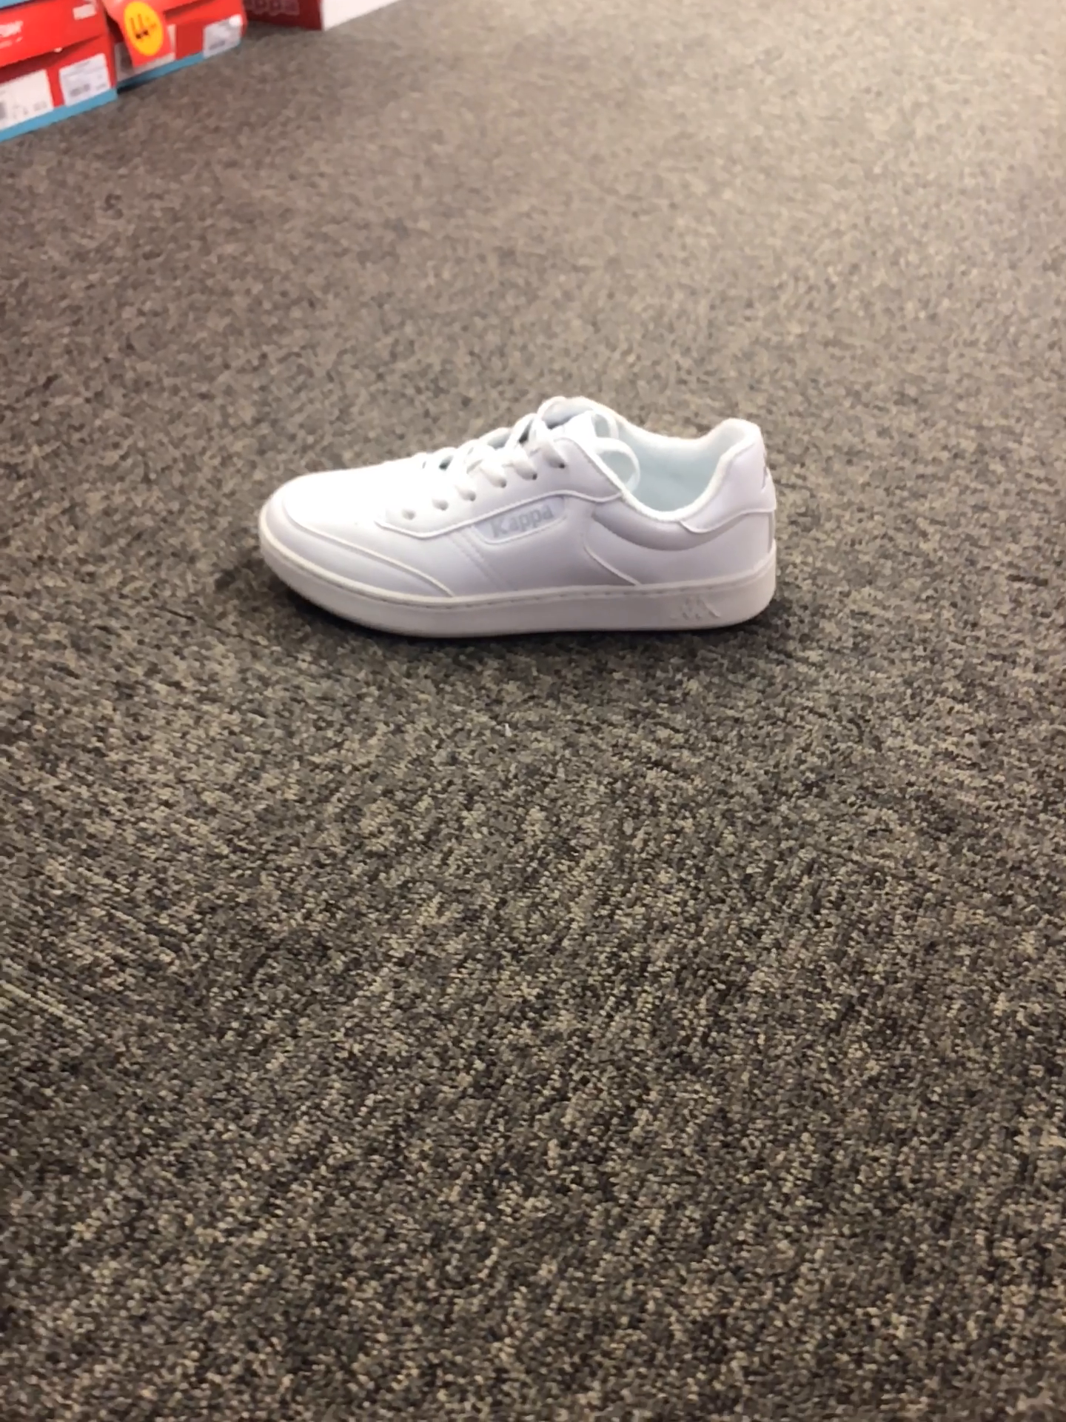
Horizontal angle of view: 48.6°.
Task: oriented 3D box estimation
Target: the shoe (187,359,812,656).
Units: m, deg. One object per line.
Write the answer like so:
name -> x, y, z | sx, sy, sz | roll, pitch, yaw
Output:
shoe -> -0.011, -0.098, 0.556 | 0.260, 0.089, 0.101 | 2, 42, 3
